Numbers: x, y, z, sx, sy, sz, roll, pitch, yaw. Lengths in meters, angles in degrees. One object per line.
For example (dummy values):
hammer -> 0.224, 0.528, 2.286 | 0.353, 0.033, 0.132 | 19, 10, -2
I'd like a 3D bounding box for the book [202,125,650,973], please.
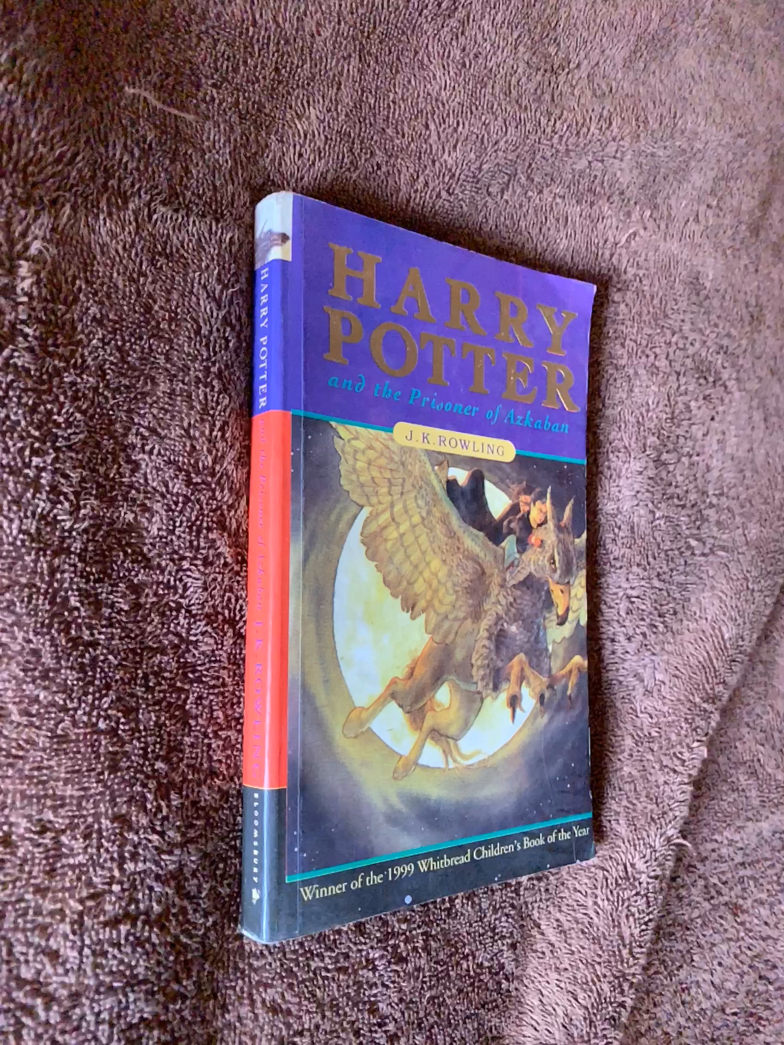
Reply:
book -> 0.018, 0.006, 0.218 | 0.131, 0.020, 0.180 | 4, 85, -35
